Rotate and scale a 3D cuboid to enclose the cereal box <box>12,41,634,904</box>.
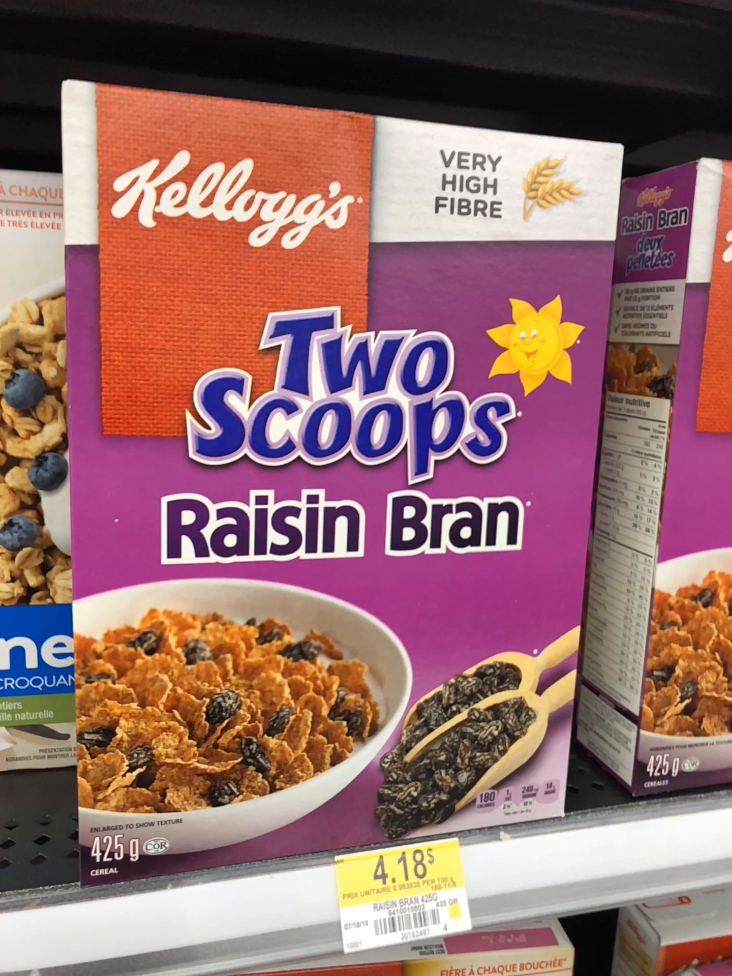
[{"bbox_3d":[-0.016,0.001,0.303,0.200,0.269,0.050,-1,11,-17],"label":"cereal box"}]
